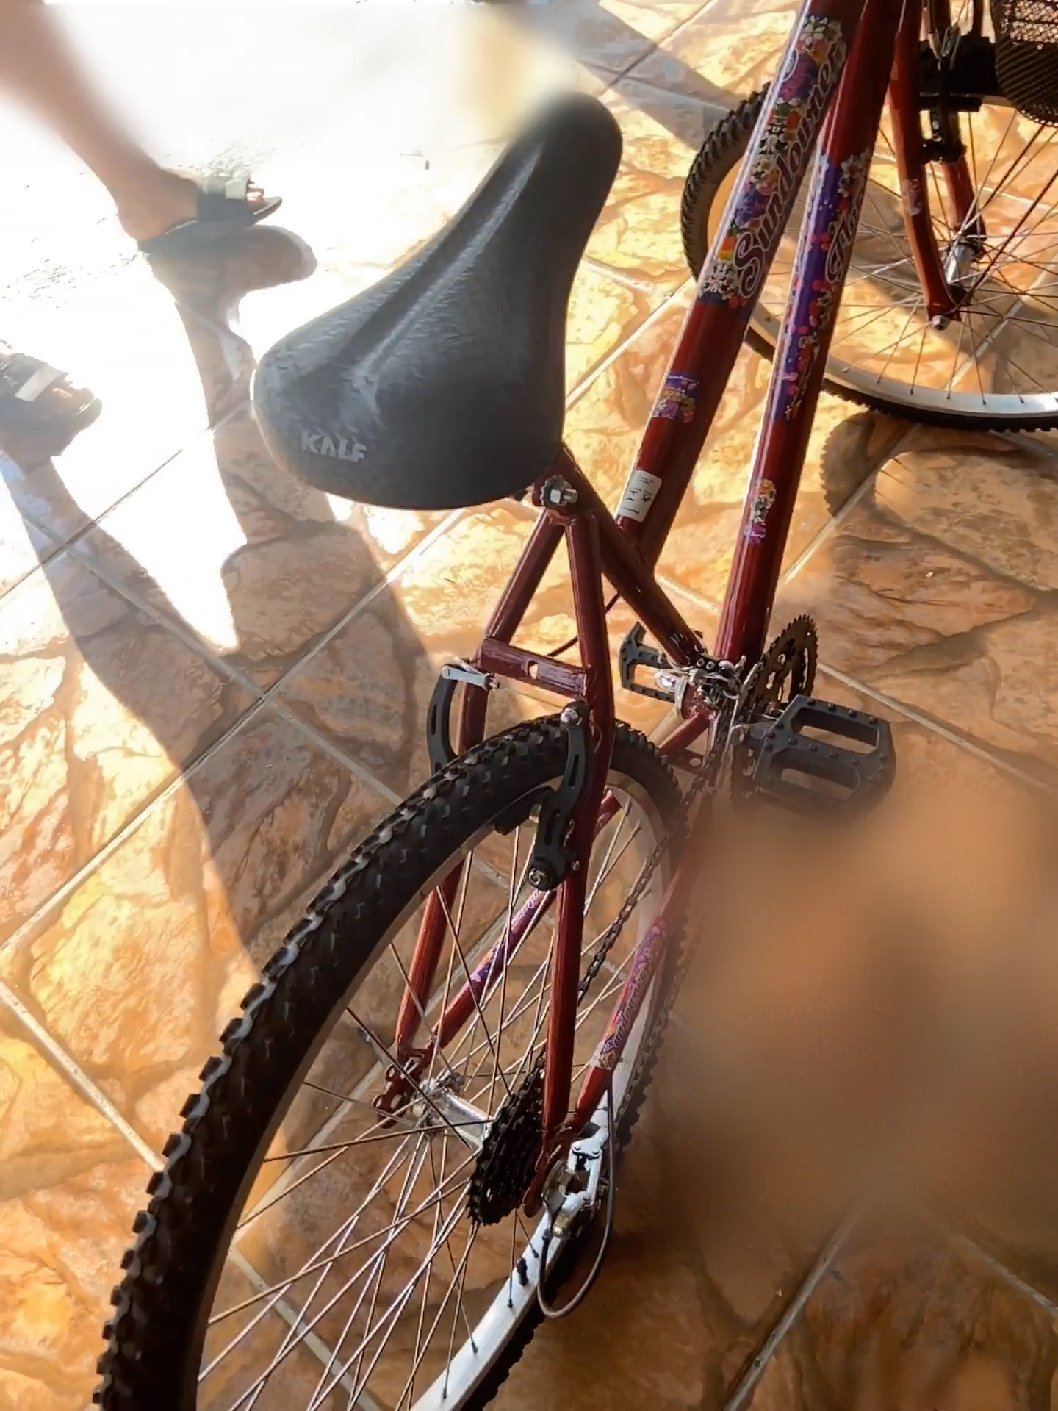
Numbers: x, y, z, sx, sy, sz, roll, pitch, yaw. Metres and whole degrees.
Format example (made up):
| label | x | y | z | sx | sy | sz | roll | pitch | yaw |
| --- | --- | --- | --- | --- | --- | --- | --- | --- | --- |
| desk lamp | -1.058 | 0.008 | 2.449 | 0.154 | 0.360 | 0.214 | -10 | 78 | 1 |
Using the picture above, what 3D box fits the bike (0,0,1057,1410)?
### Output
| label | x | y | z | sx | sy | sz | roll | pitch | yaw |
| --- | --- | --- | --- | --- | --- | --- | --- | --- | --- |
| bike | 0.158 | -0.085 | 0.741 | 0.550 | 1.083 | 1.410 | 36 | 71 | 26 |
